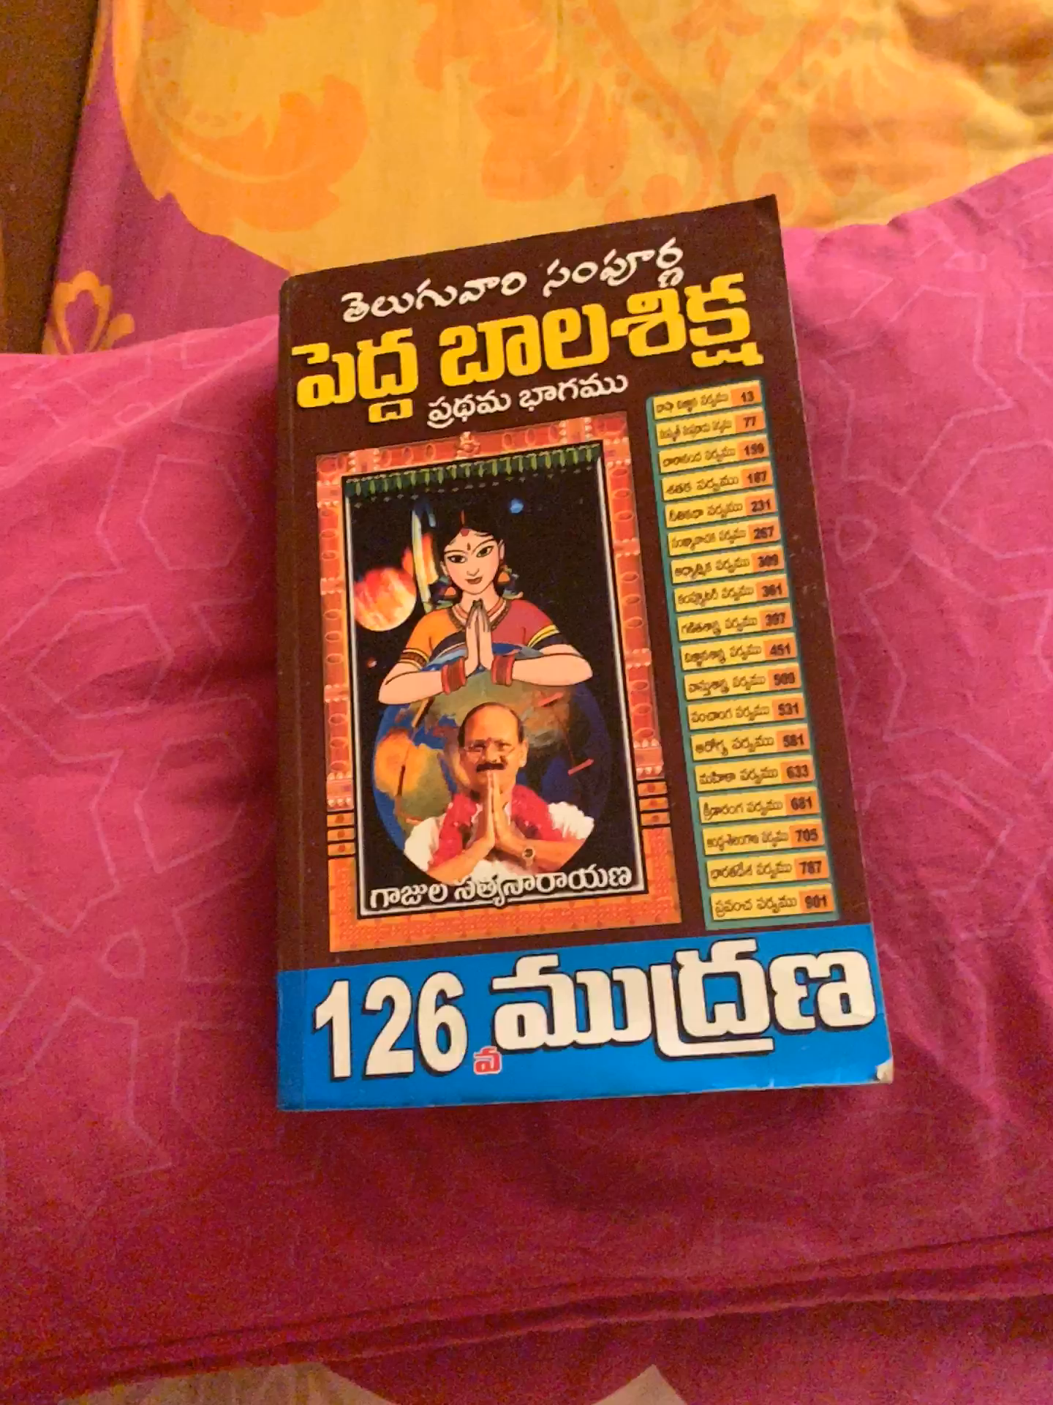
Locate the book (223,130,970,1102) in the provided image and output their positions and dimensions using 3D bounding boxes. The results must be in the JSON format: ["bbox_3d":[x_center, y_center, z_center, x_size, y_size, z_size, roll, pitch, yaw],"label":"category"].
[{"bbox_3d":[0.009,-0.027,0.320,0.180,0.050,0.260,-6,74,9],"label":"book"}]
